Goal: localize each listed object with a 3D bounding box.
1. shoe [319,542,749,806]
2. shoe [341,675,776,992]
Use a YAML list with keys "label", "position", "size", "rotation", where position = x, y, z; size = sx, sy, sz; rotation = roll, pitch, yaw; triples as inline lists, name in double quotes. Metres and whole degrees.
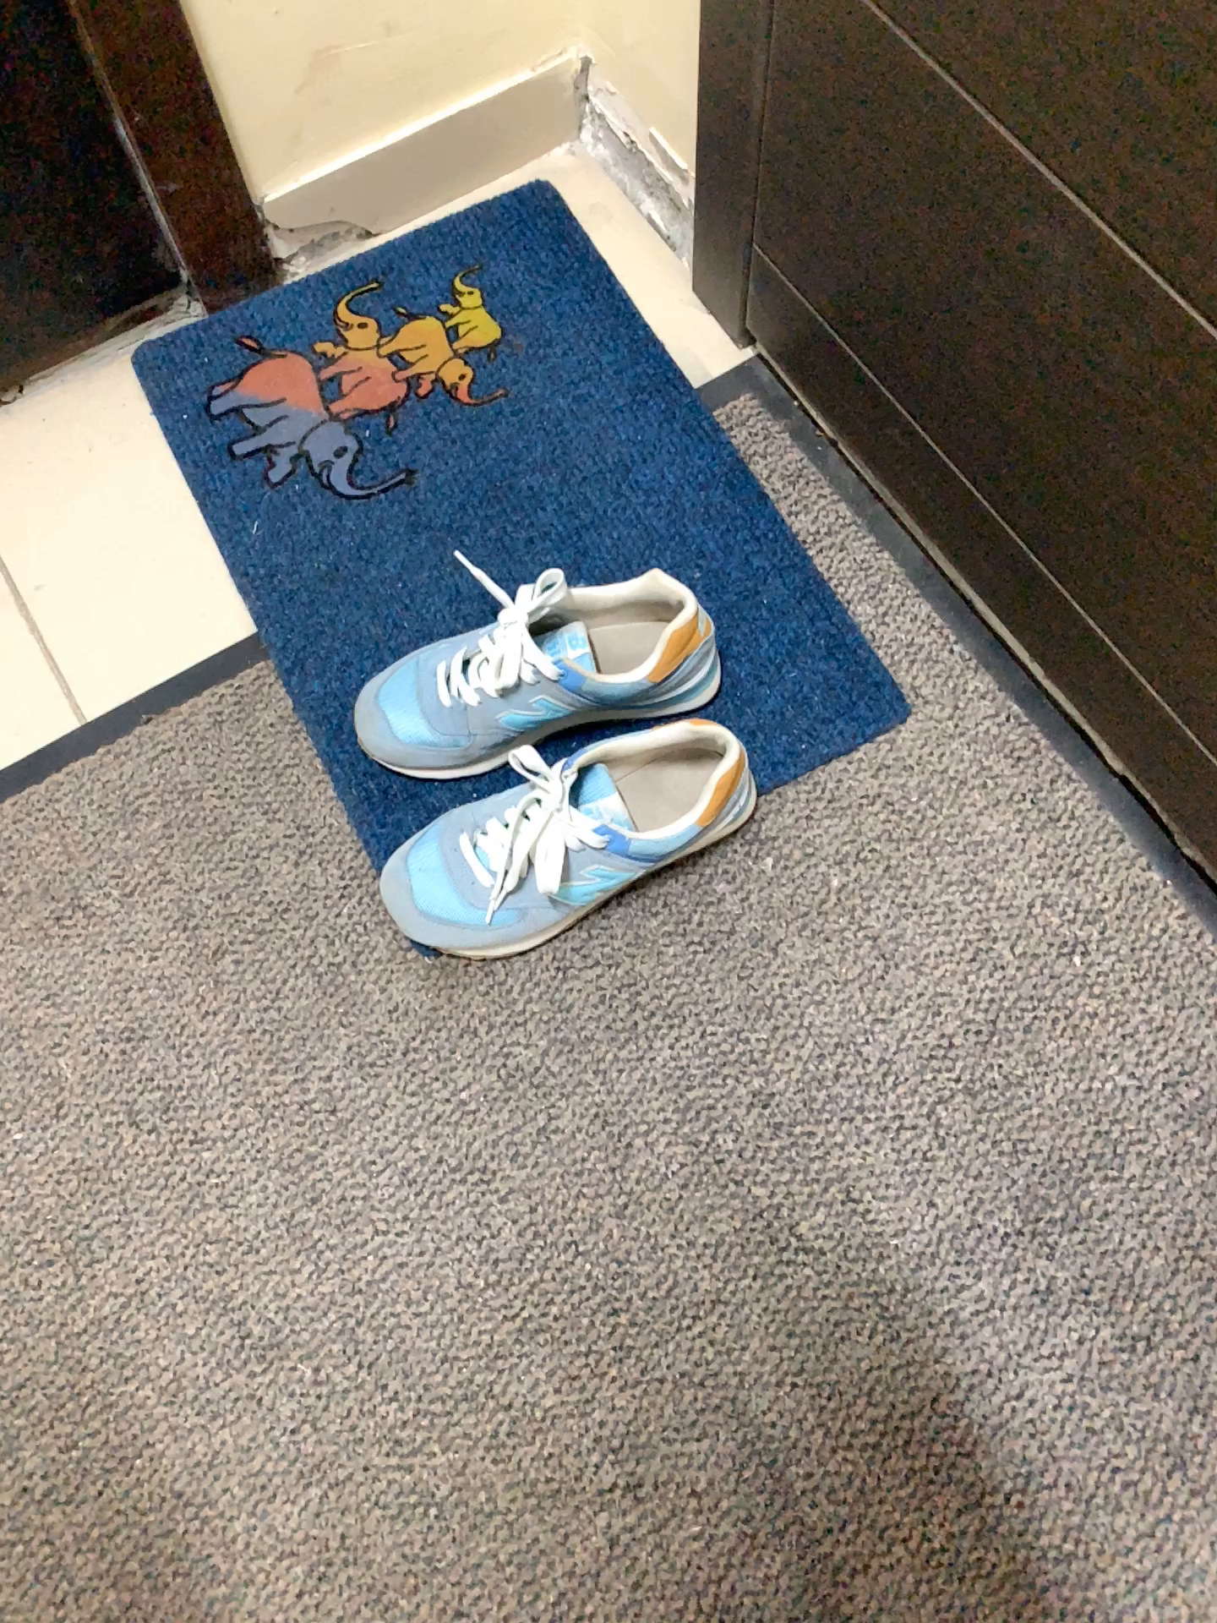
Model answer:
- label: "shoe"
  position: [-0.047, -0.088, 0.847]
  size: [0.260, 0.140, 0.080]
  rotation: [-12, 74, -3]
- label: "shoe"
  position: [-0.028, 0.018, 0.810]
  size: [0.250, 0.120, 0.090]
  rotation: [-19, 67, -5]
